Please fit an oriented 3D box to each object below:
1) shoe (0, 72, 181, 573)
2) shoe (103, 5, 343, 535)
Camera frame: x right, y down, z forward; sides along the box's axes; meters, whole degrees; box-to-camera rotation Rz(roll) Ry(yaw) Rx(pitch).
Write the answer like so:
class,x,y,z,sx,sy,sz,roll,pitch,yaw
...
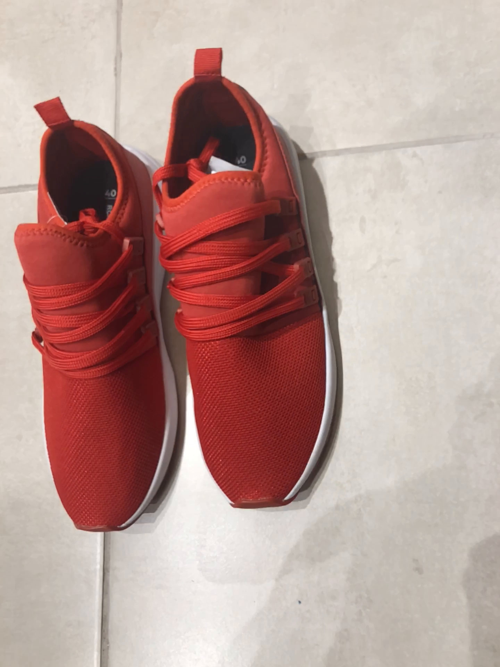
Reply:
class,x,y,z,sx,sy,sz,roll,pitch,yaw
shoe,-0.118,-0.003,0.374,0.100,0.140,0.270,-3,81,12
shoe,-0.010,-0.029,0.355,0.100,0.140,0.270,-7,80,12
